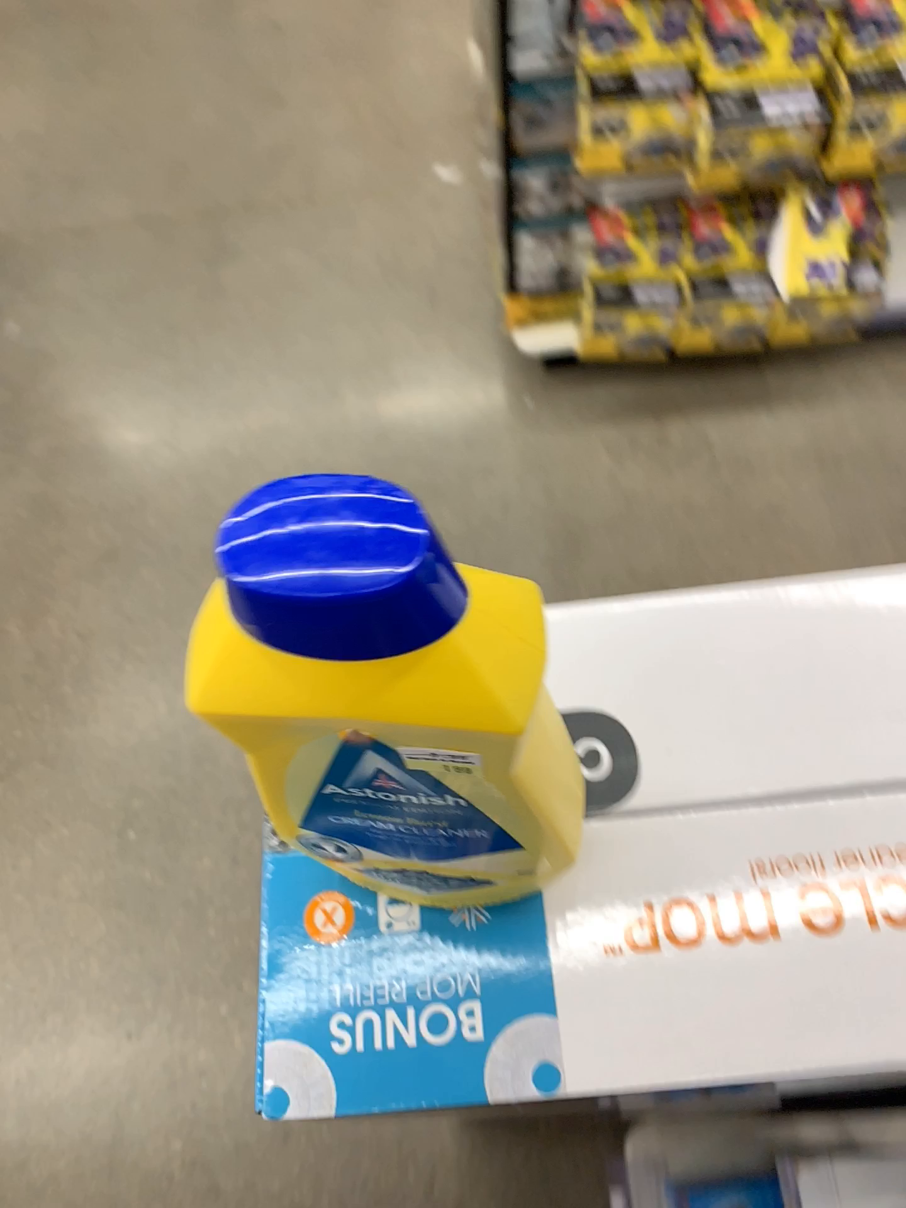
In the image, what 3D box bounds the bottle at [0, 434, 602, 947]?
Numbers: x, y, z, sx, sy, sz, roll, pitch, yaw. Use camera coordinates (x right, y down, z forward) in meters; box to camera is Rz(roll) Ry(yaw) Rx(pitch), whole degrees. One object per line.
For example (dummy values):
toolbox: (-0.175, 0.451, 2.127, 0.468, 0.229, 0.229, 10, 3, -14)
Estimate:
bottle: (-0.016, 0.040, 0.250, 0.100, 0.189, 0.060, 3, 62, 8)
